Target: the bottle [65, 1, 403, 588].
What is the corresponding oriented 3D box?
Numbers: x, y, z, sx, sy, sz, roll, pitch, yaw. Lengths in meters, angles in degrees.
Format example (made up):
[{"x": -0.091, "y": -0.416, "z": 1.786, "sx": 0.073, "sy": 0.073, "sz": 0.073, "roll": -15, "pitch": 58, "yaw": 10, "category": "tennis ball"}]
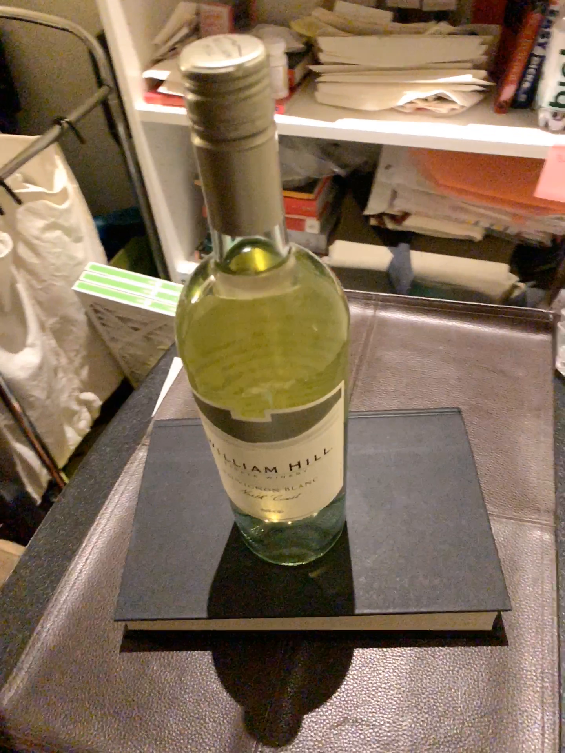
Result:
[{"x": 0.001, "y": -0.007, "z": 0.299, "sx": 0.090, "sy": 0.298, "sz": 0.090, "roll": -3, "pitch": 46, "yaw": 3, "category": "bottle"}]
